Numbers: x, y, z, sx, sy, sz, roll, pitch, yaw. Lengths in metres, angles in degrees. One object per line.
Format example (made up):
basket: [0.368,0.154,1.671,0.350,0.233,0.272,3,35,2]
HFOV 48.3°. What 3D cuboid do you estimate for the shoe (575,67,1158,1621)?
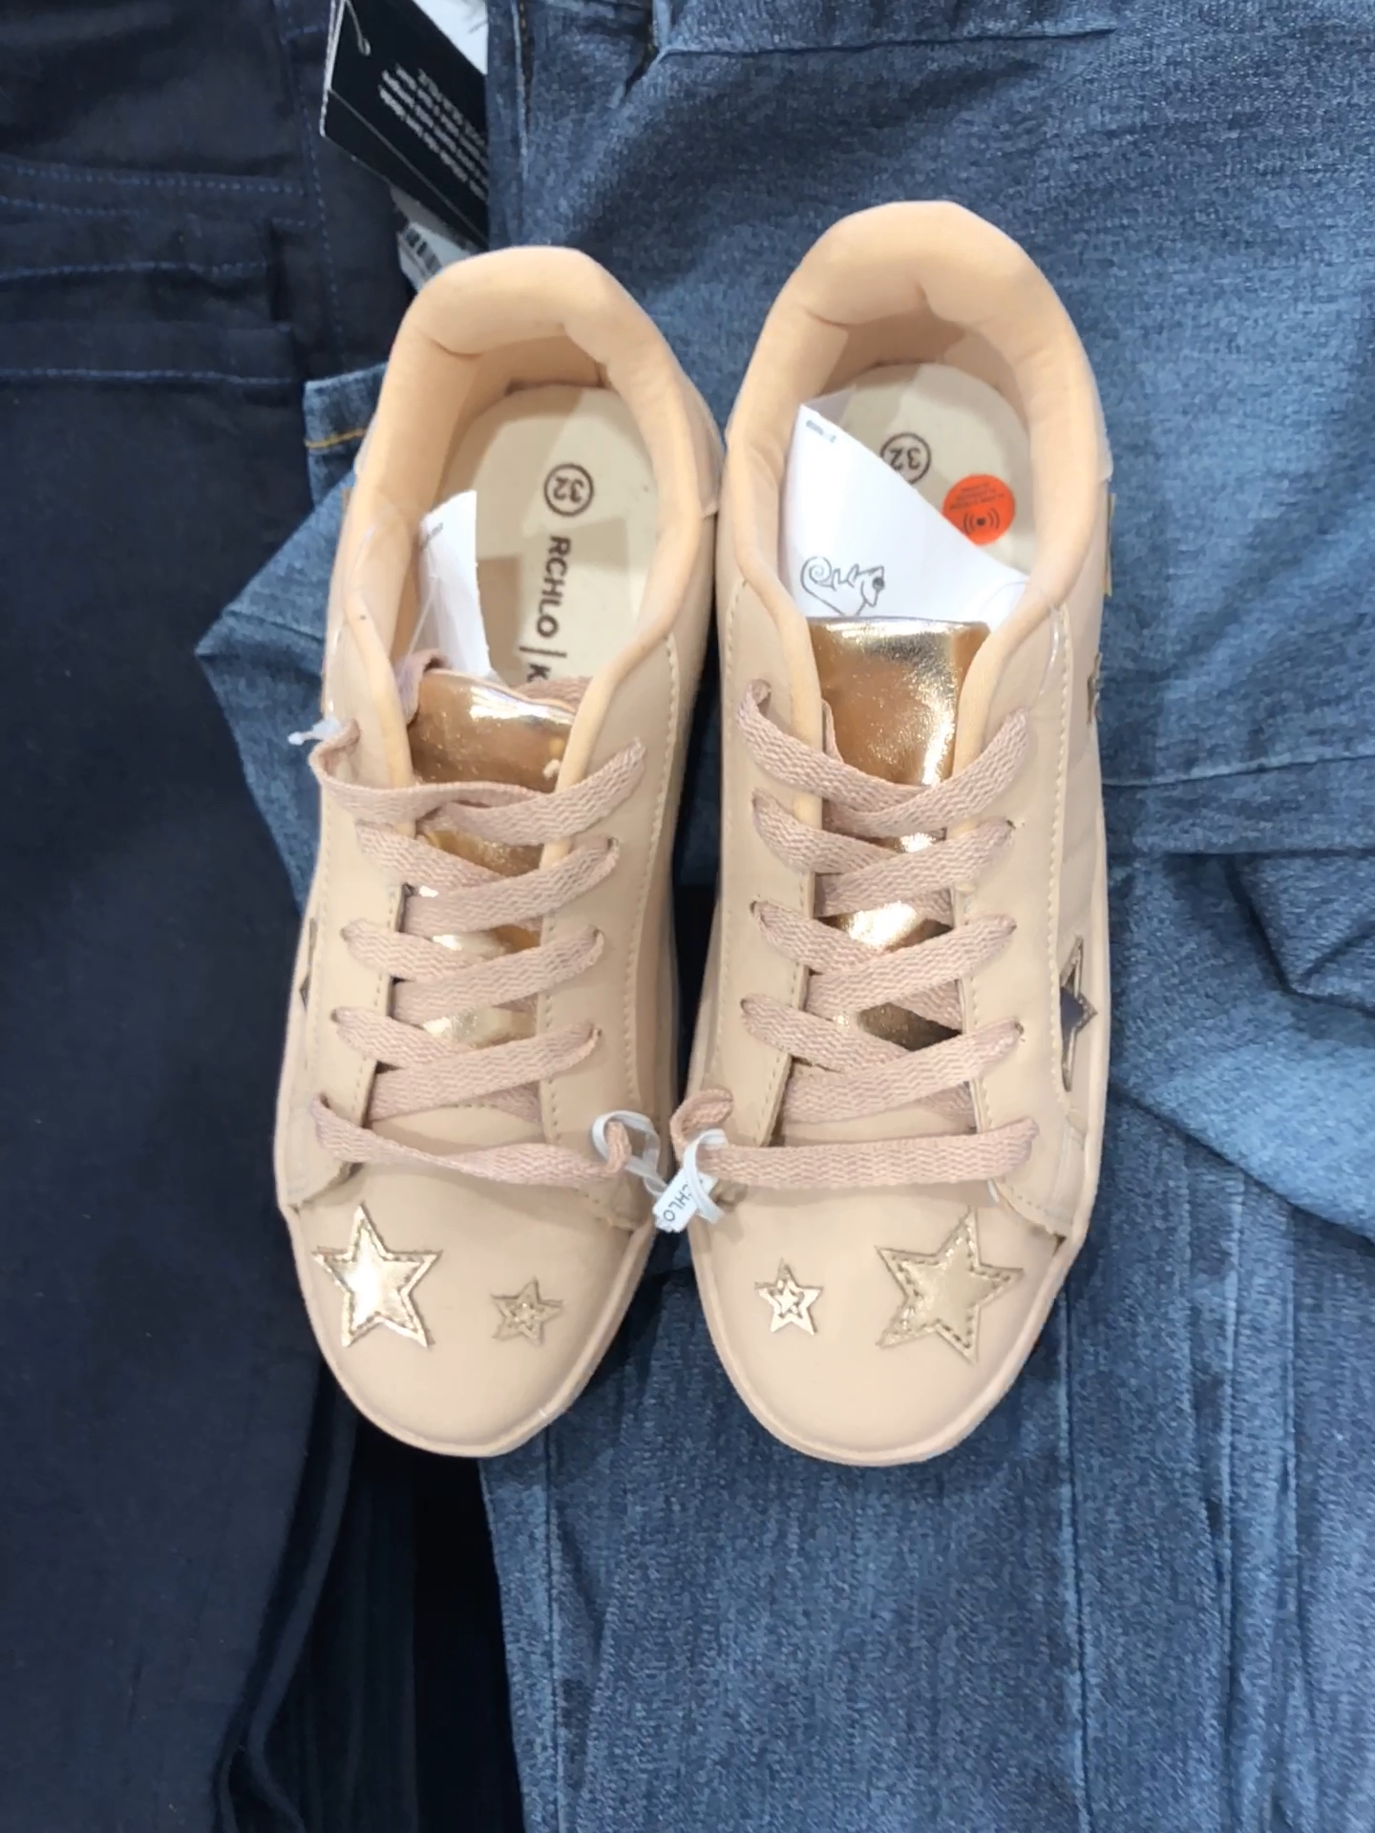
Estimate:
shoe: [0.039,-0.014,0.296,0.090,0.090,0.250,0,83,11]

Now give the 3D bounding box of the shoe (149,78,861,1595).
shoe: [-0.028,-0.017,0.305,0.090,0.090,0.250,6,90,13]
